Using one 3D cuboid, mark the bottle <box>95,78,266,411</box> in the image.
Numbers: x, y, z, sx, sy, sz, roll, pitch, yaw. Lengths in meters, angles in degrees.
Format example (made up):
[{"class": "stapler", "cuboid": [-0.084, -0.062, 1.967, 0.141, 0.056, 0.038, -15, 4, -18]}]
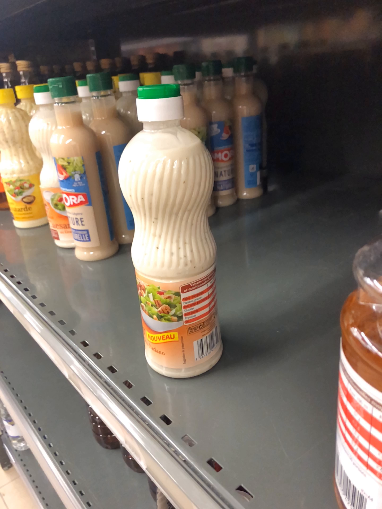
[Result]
[{"class": "bottle", "cuboid": [-0.001, -0.009, 0.328, 0.080, 0.229, 0.080, -4, 23, 2]}]
